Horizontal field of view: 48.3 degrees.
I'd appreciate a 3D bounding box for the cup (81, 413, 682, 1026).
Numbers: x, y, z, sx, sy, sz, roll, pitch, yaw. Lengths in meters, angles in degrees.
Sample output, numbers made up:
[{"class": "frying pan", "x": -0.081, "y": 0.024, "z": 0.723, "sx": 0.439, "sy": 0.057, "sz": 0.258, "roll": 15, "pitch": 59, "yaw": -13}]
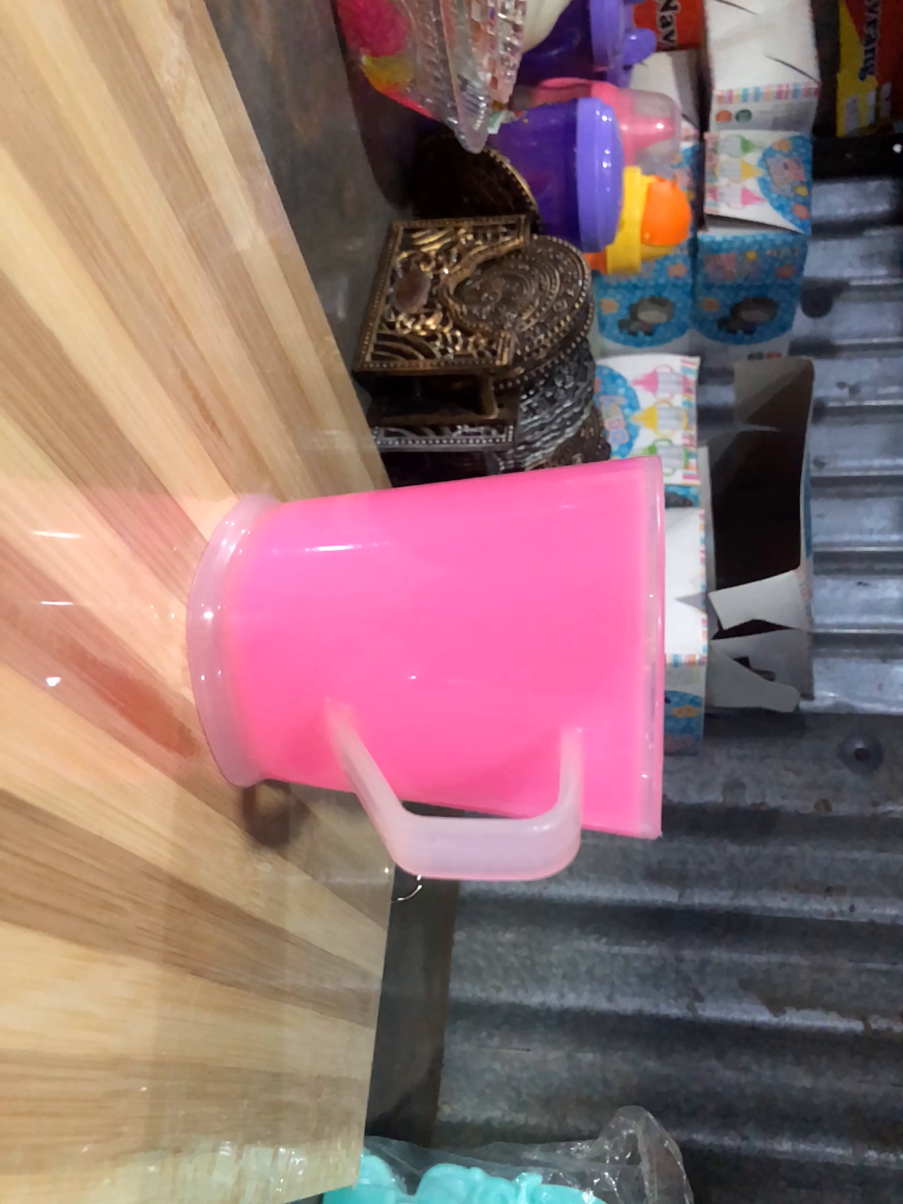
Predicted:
[{"class": "cup", "x": -0.002, "y": 0.018, "z": 0.231, "sx": 0.120, "sy": 0.100, "sz": 0.070, "roll": -77, "pitch": 166, "yaw": -49}]
